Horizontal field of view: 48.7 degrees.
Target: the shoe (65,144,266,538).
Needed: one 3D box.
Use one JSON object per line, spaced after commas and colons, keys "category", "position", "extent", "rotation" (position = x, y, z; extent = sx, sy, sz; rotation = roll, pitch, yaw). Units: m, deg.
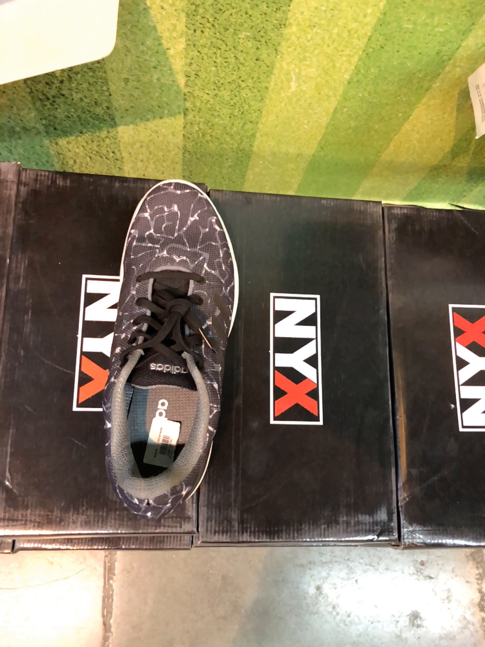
{"category": "shoe", "position": [-0.052, 0.016, 0.419], "extent": [0.109, 0.122, 0.261], "rotation": [5, 76, -6]}
